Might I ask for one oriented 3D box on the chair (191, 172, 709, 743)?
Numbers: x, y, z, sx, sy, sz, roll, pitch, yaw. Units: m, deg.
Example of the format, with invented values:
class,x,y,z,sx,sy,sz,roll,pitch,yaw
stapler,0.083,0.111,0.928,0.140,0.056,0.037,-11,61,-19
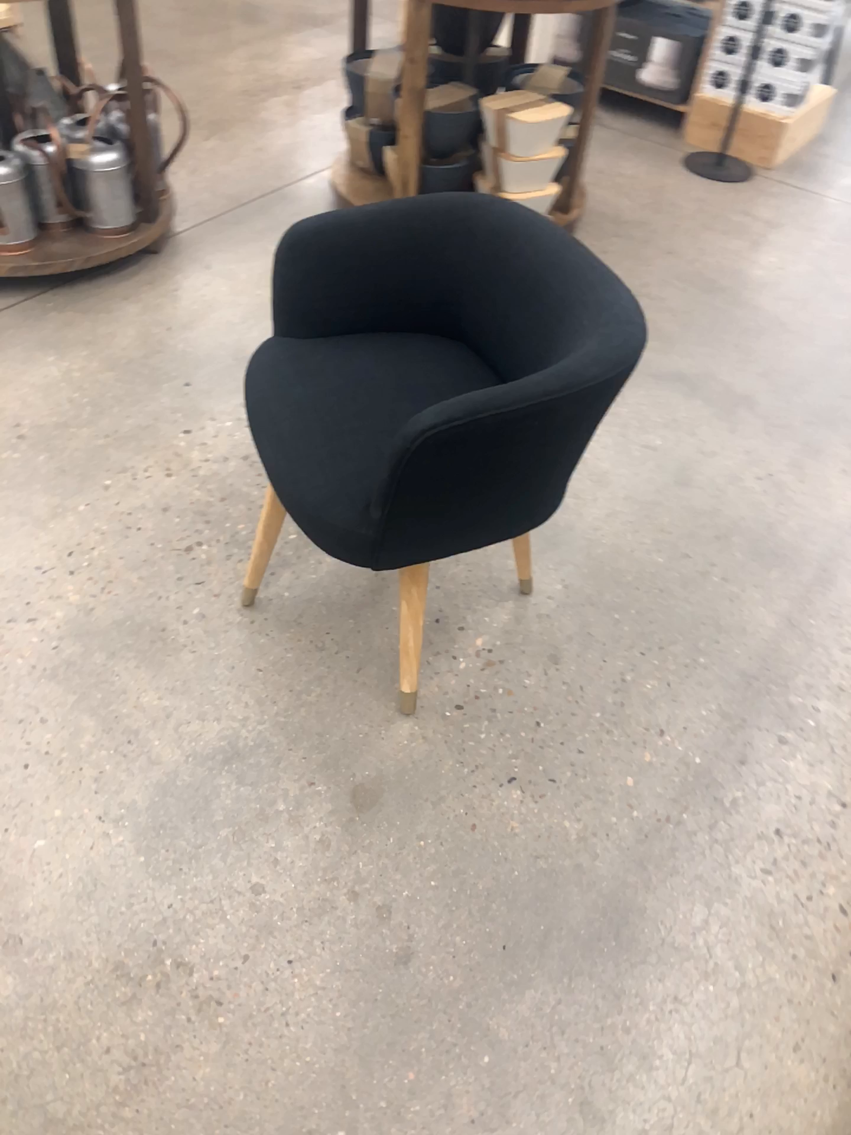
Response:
class,x,y,z,sx,sy,sz,roll,pitch,yaw
chair,-0.029,-0.200,1.562,0.603,0.670,0.604,-7,45,-14
